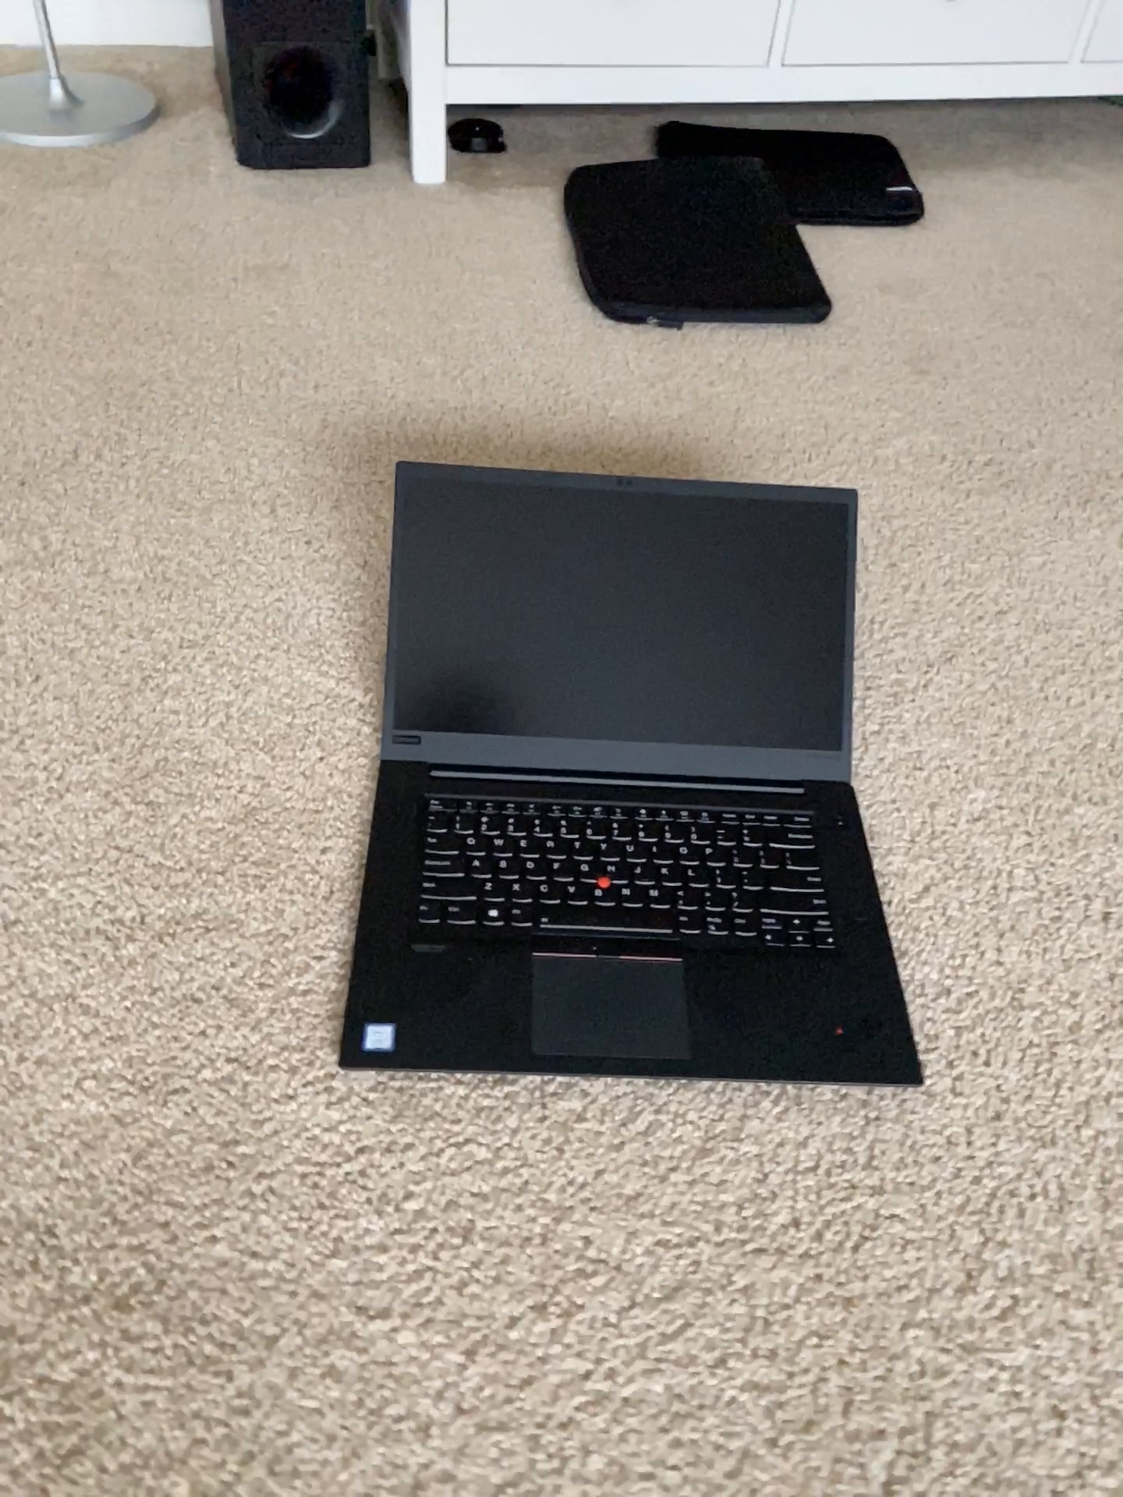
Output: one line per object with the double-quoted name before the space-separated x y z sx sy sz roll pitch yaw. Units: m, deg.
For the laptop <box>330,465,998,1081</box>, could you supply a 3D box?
"laptop" 0.053 -0.006 0.807 0.359 0.141 0.434 3 47 -3
